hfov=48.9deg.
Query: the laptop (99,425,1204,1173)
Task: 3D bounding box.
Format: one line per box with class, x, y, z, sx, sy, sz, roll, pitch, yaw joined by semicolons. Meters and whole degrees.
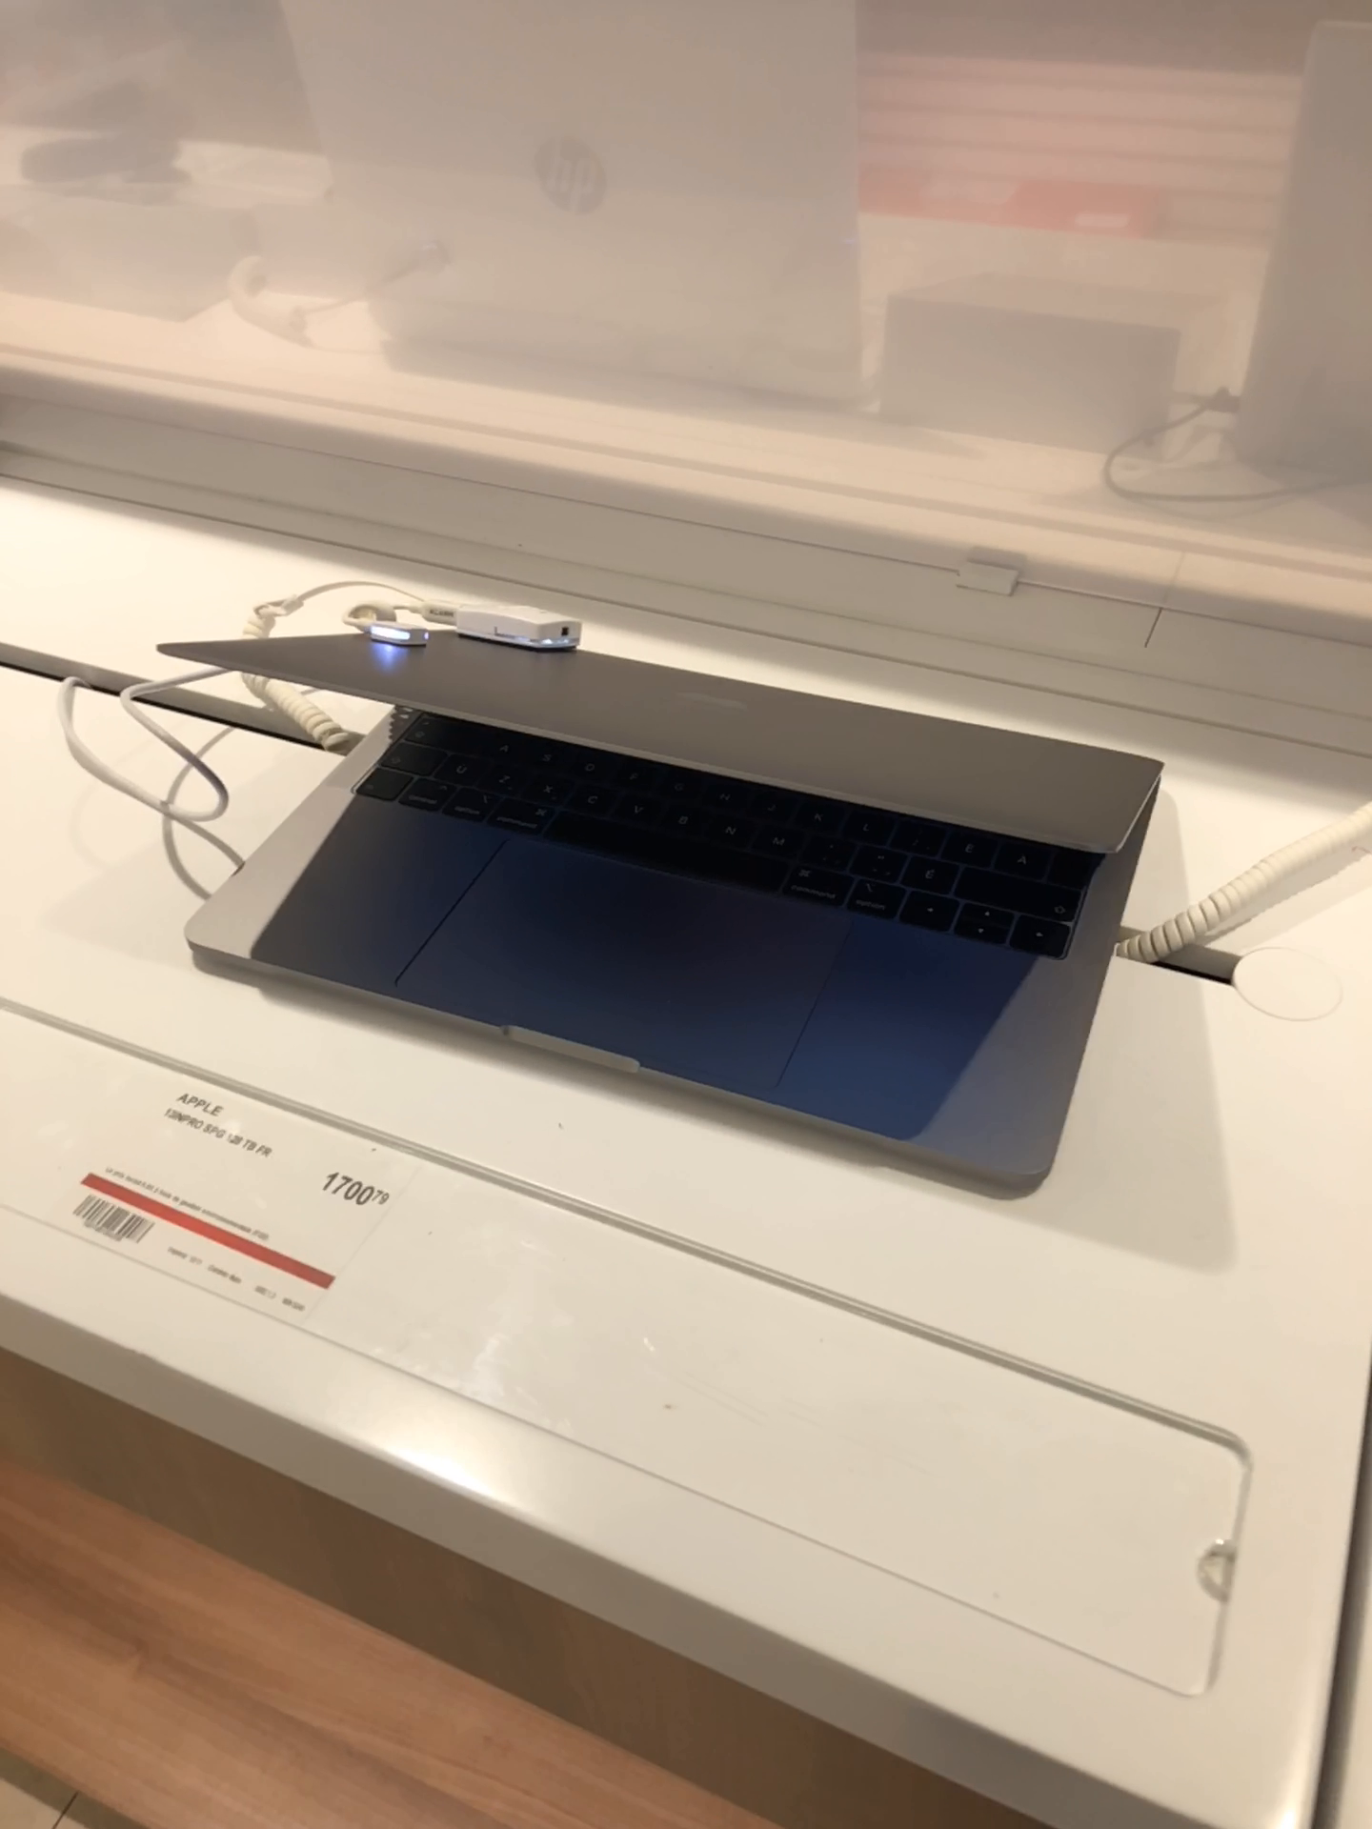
laptop;-0.001;-0.060;0.521;0.304;0.104;0.202;13;44;18
